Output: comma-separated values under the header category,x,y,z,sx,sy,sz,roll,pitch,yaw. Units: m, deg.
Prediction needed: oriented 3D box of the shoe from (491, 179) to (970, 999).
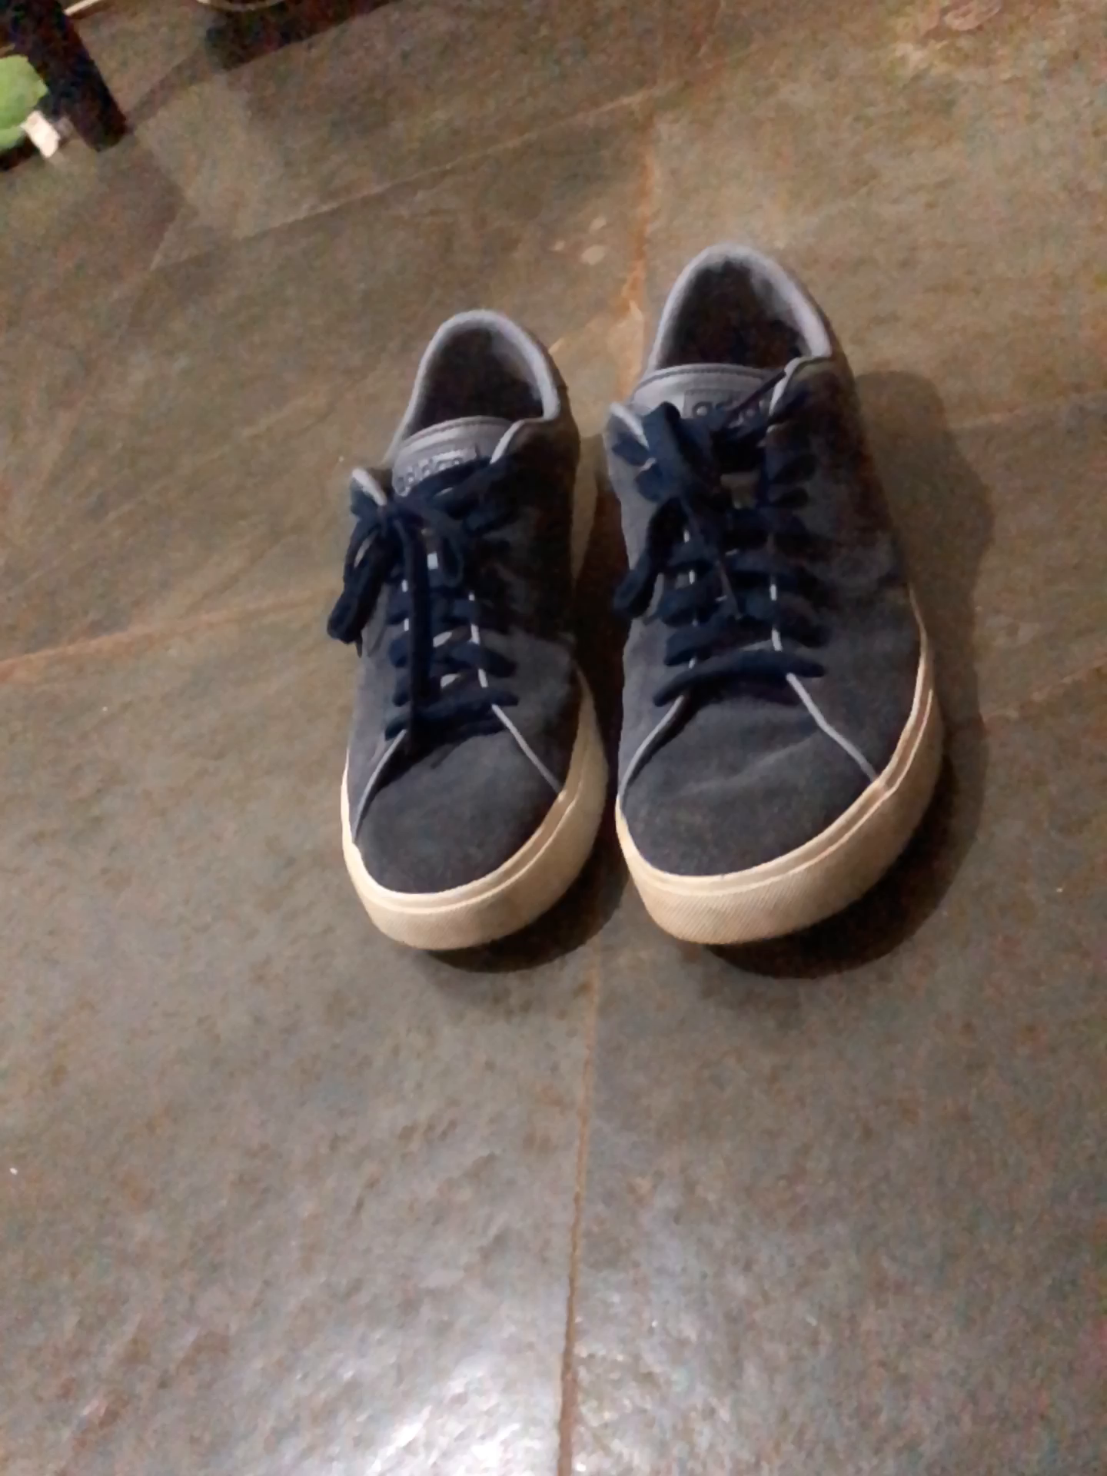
category,x,y,z,sx,sy,sz,roll,pitch,yaw
shoe,0.064,-0.062,0.412,0.110,0.080,0.281,-9,50,21

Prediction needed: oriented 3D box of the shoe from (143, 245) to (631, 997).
category,x,y,z,sx,sy,sz,roll,pitch,yaw
shoe,-0.042,-0.054,0.443,0.110,0.080,0.271,-11,49,19
